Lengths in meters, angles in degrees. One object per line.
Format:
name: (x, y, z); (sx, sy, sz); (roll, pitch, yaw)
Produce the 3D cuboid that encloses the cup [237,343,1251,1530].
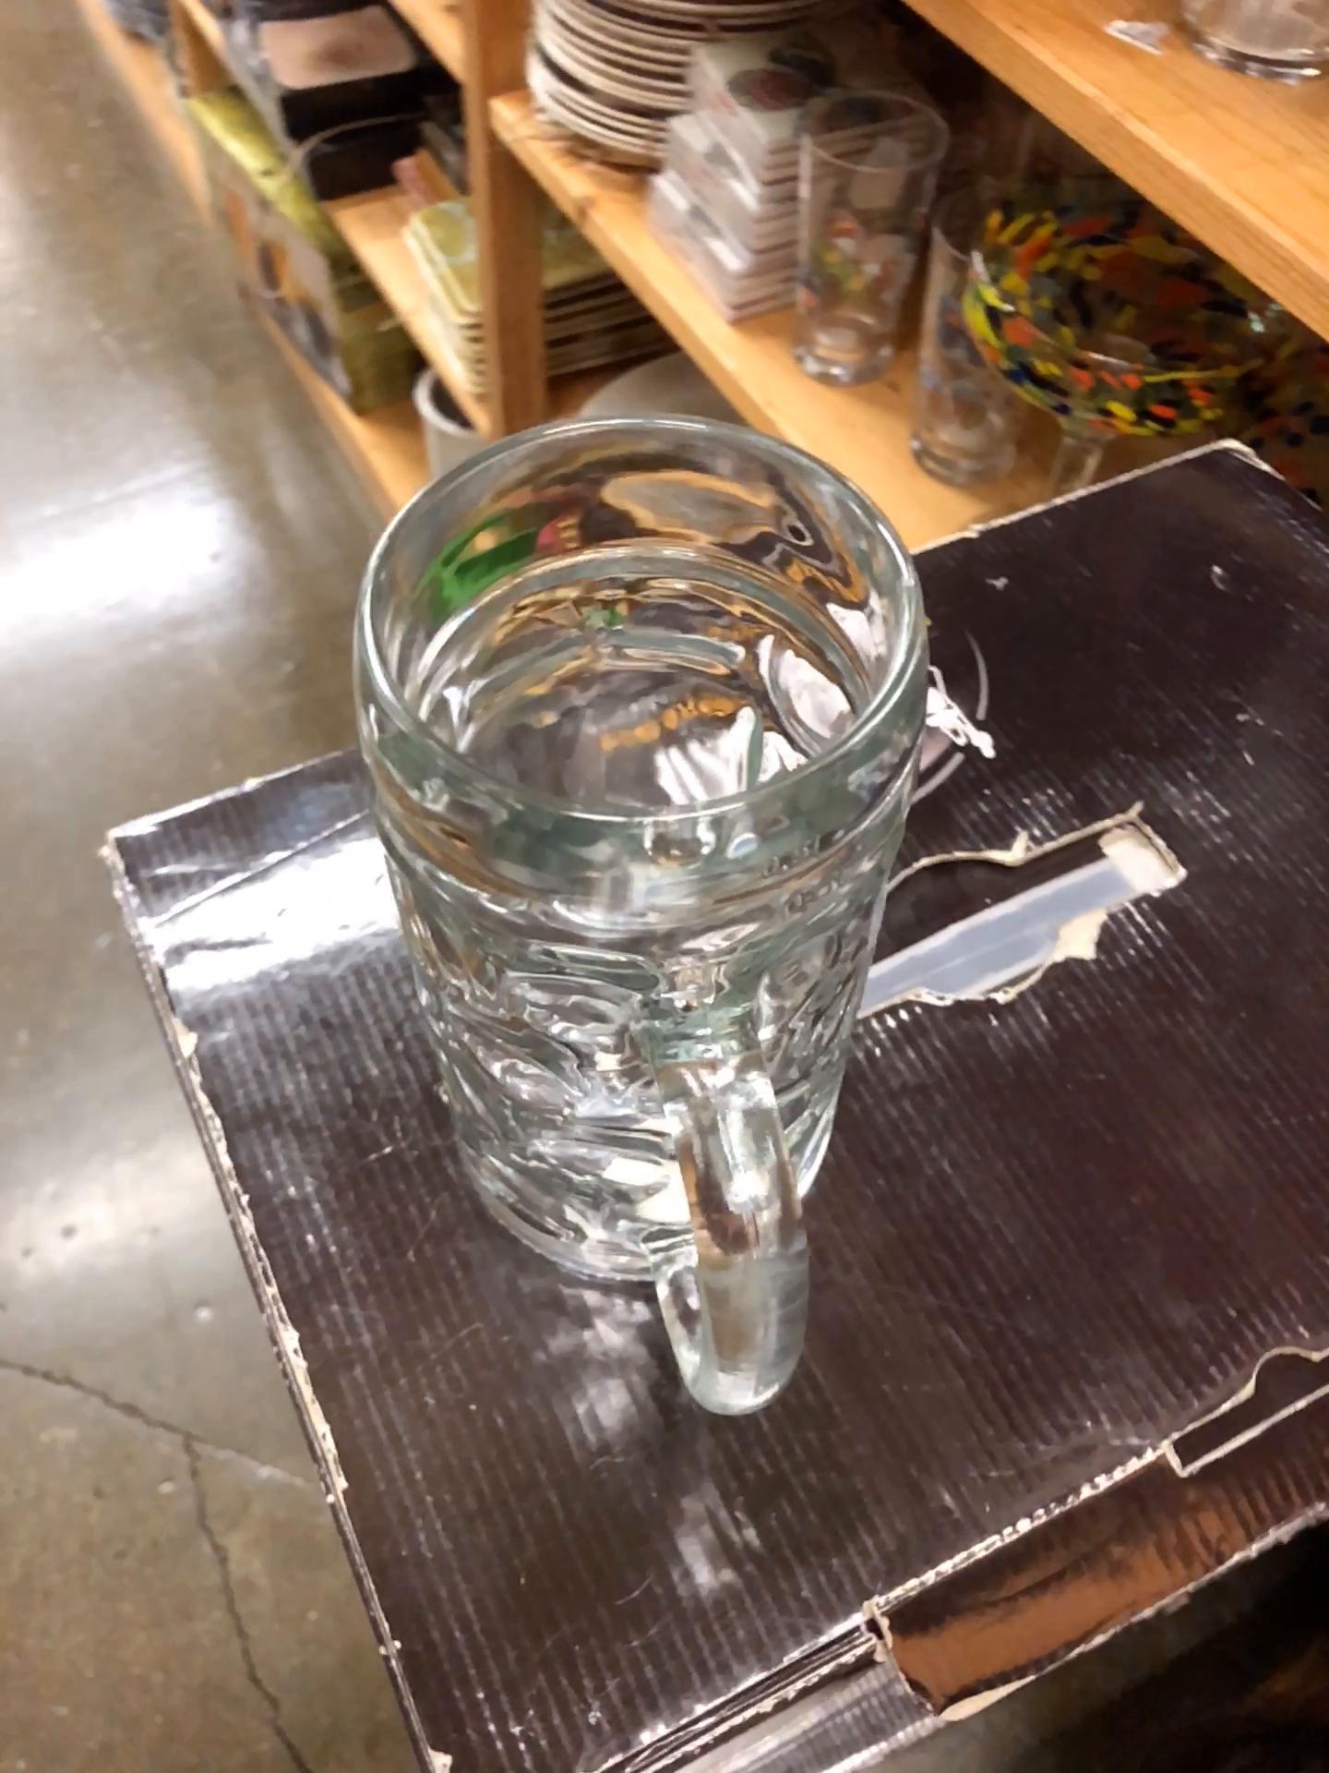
cup: (-0.001, 0.014, 0.247); (0.100, 0.136, 0.129); (-11, 57, -9)
